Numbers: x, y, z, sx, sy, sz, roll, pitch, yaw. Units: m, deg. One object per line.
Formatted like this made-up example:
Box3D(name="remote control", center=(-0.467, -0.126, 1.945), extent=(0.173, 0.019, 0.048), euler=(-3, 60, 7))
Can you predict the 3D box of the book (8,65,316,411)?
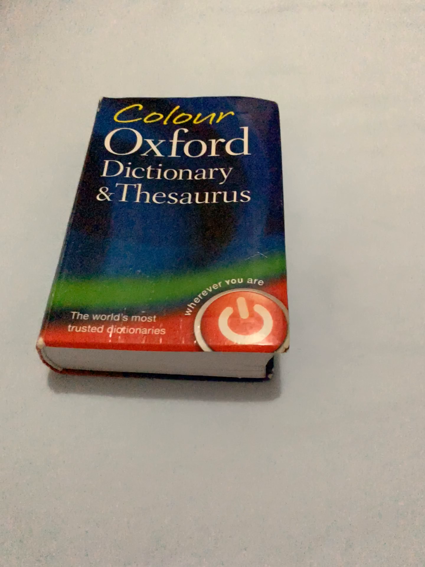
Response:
Box3D(name="book", center=(-0.015, -0.032, 0.228), extent=(0.120, 0.040, 0.181), euler=(-1, 62, 7))
